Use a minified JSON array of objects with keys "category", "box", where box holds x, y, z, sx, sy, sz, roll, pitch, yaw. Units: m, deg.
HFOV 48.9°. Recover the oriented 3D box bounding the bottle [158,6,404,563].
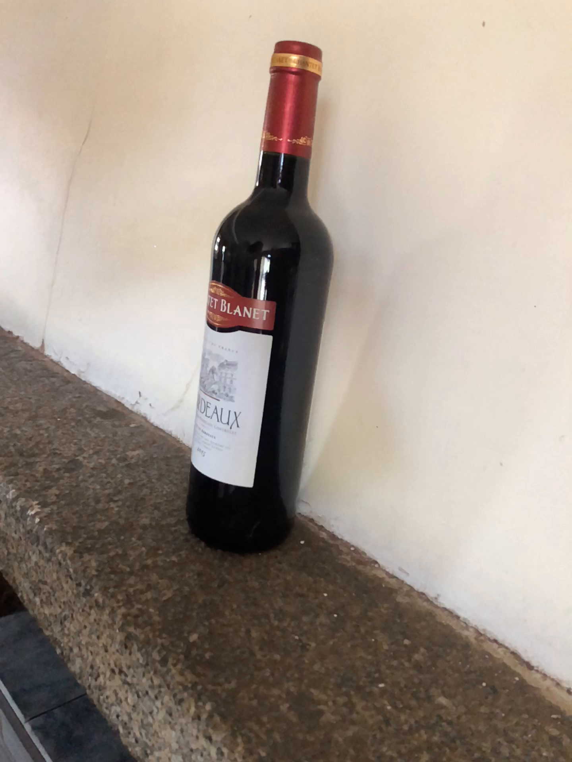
[{"category":"bottle","box":[-0.010,-0.049,0.380,0.080,0.289,0.080,7,14,-2]}]
